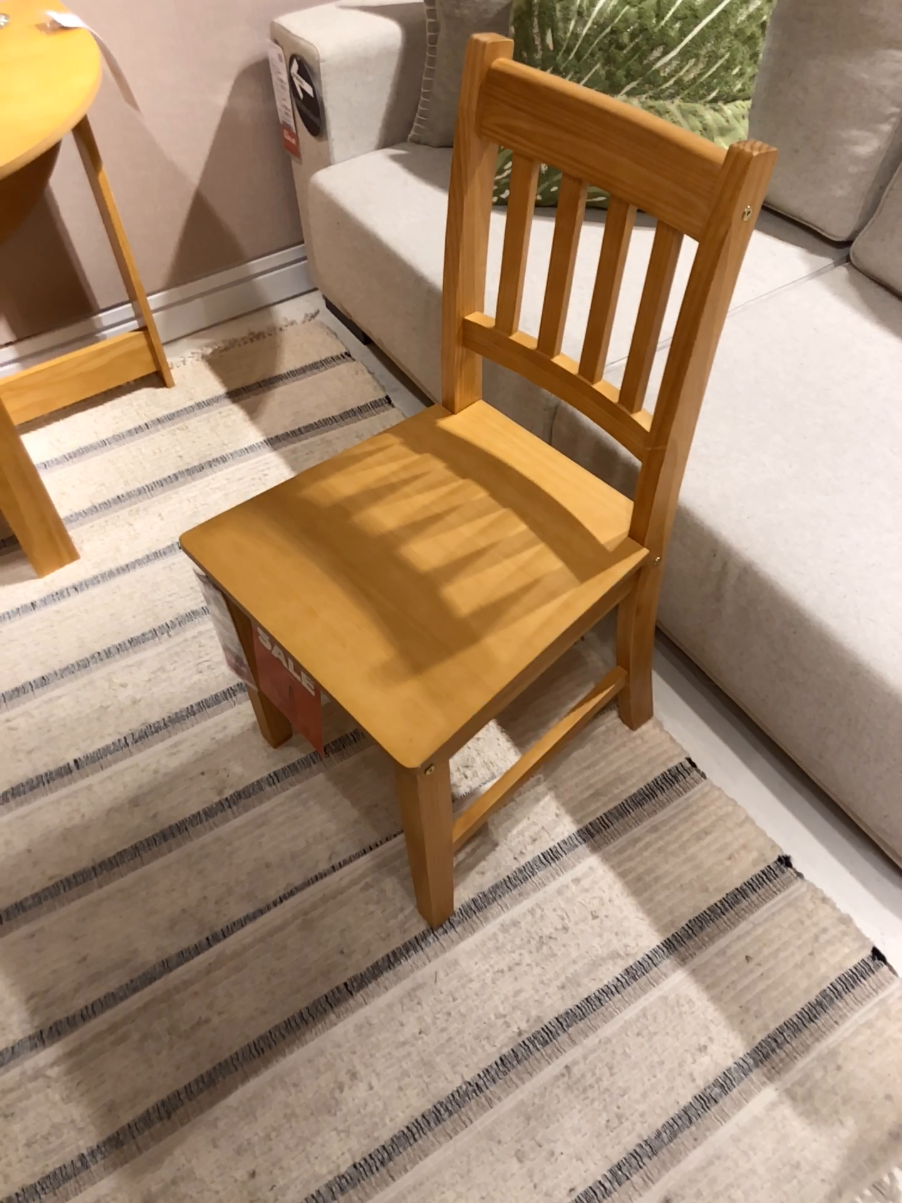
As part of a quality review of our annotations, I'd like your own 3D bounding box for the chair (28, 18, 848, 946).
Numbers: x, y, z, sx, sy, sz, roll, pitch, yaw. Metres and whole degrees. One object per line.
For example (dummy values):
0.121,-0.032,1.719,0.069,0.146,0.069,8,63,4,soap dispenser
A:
0.000,-0.097,1.147,0.522,0.814,0.462,-35,57,-24,chair
